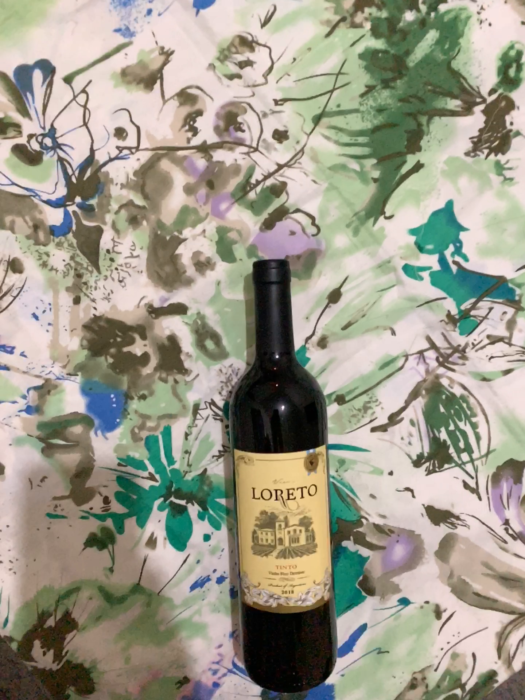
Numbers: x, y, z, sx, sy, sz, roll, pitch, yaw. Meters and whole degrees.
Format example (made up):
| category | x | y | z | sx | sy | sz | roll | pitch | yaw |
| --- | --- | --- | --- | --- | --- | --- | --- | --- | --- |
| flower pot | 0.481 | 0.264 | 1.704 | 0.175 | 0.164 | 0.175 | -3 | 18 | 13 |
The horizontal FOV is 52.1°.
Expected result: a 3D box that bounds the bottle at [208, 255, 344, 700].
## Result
| category | x | y | z | sx | sy | sz | roll | pitch | yaw |
| --- | --- | --- | --- | --- | --- | --- | --- | --- | --- |
| bottle | 0.009 | 0.091 | 0.394 | 0.080 | 0.050 | 0.310 | -3 | 95 | -4 |
